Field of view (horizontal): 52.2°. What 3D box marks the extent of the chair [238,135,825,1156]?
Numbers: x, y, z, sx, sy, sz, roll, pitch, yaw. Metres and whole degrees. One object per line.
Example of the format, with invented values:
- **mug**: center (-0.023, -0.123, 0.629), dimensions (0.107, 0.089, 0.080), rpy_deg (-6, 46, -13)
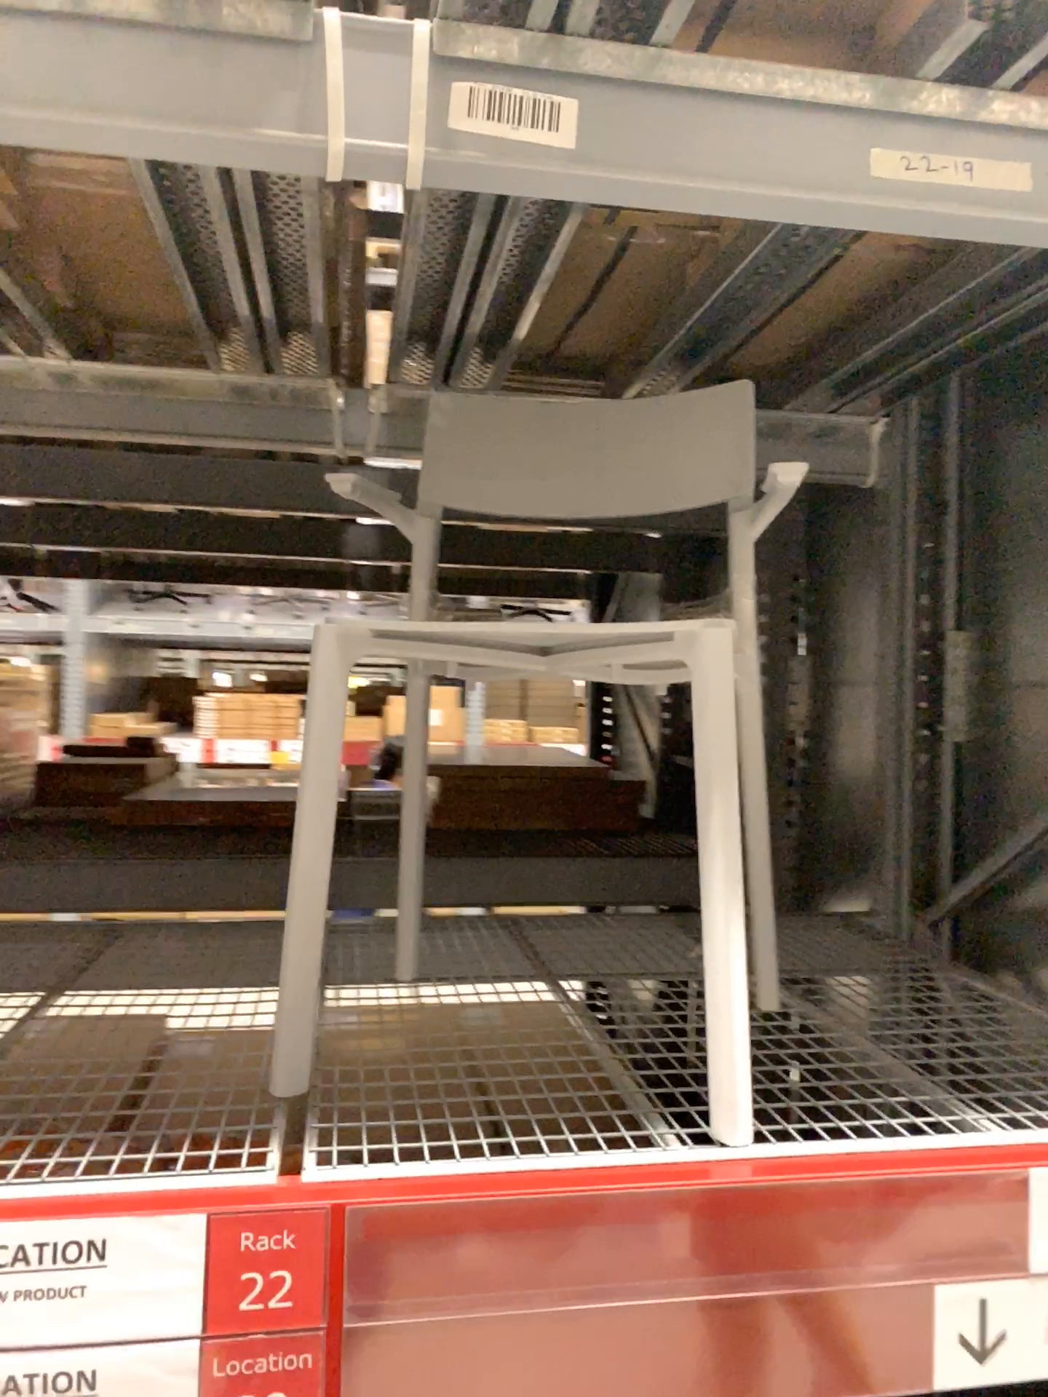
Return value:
- **chair**: center (0.044, -0.049, 1.170), dimensions (0.480, 0.820, 0.550), rpy_deg (1, -1, 10)
